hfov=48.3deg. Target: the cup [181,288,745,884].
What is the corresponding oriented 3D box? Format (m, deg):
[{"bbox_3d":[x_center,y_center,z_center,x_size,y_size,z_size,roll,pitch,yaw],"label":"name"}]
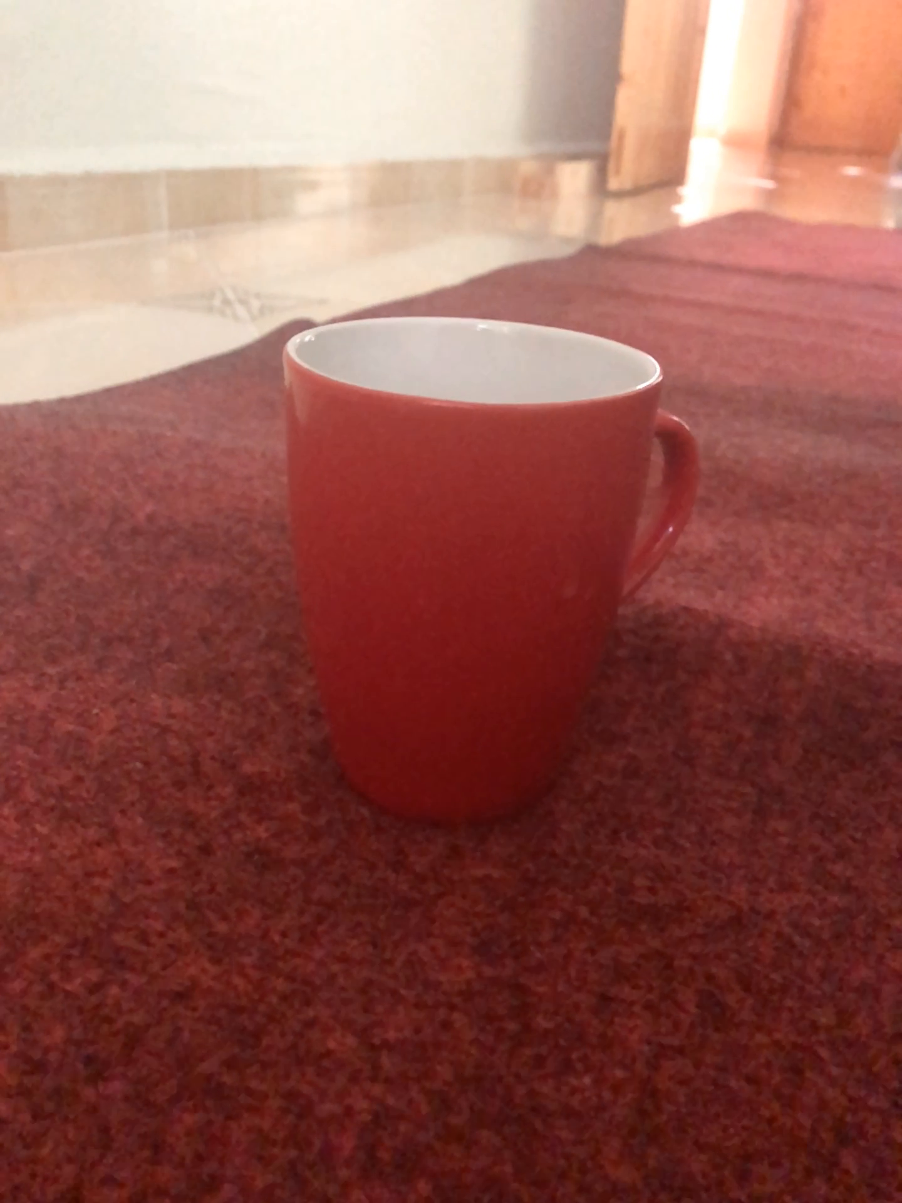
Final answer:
[{"bbox_3d":[0.007,-0.015,0.241,0.078,0.094,0.109,18,30,28],"label":"cup"}]
